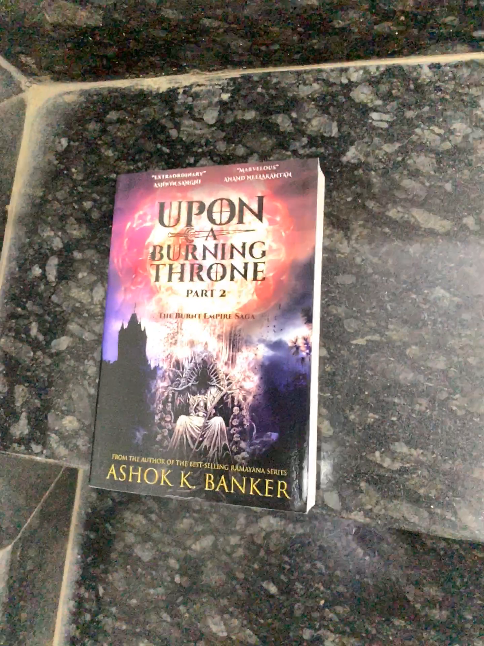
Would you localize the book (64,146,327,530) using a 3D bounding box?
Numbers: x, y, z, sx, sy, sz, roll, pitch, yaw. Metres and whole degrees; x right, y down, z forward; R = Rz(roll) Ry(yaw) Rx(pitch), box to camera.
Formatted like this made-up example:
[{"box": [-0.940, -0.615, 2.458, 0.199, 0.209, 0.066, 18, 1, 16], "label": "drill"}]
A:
[{"box": [-0.024, 0.004, 0.294, 0.140, 0.030, 0.200, 0, 81, 17], "label": "book"}]
